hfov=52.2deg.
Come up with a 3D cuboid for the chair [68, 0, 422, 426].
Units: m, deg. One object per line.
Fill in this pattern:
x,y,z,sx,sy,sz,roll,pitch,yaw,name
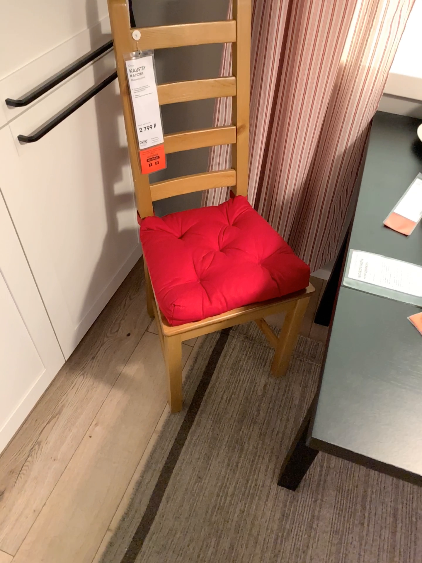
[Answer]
0.011,-0.156,1.213,0.501,1.015,0.582,-16,52,-18,chair
